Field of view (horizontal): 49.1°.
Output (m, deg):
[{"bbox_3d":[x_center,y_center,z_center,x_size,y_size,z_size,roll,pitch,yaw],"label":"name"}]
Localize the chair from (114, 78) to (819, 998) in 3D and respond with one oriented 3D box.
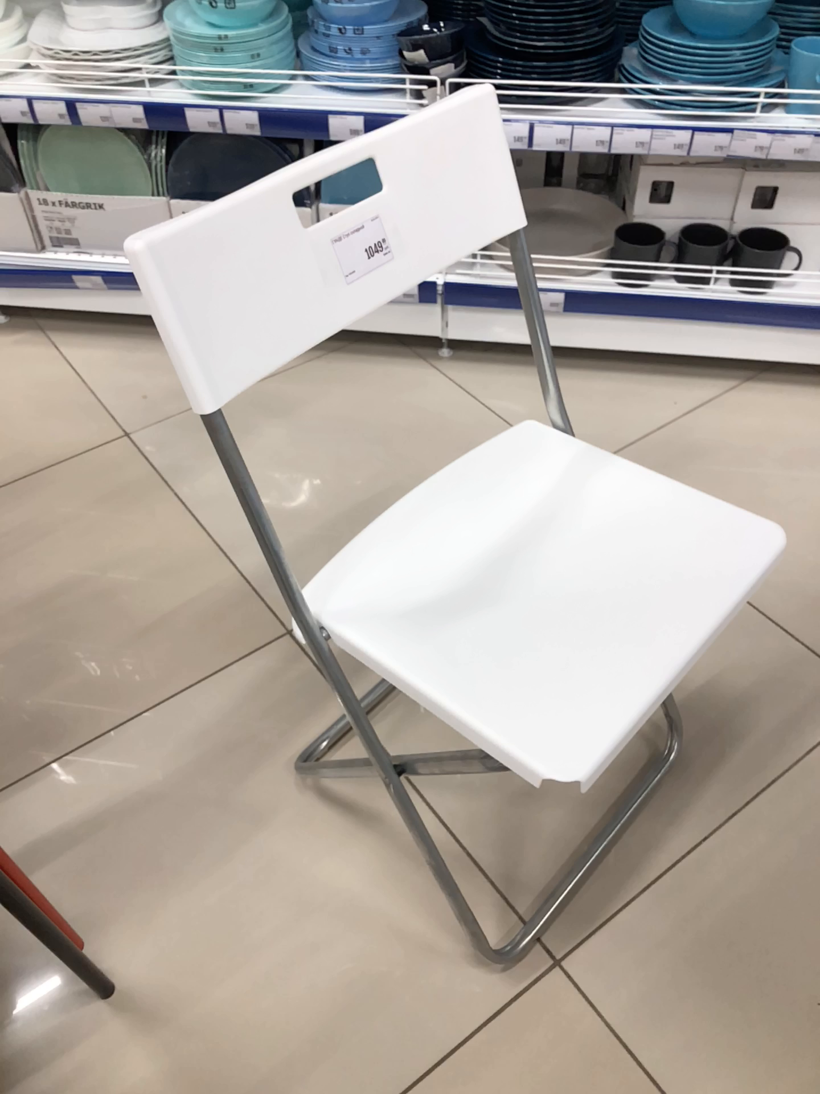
[{"bbox_3d":[0.094,0.011,0.910,0.431,0.711,0.427,32,54,29],"label":"chair"}]
